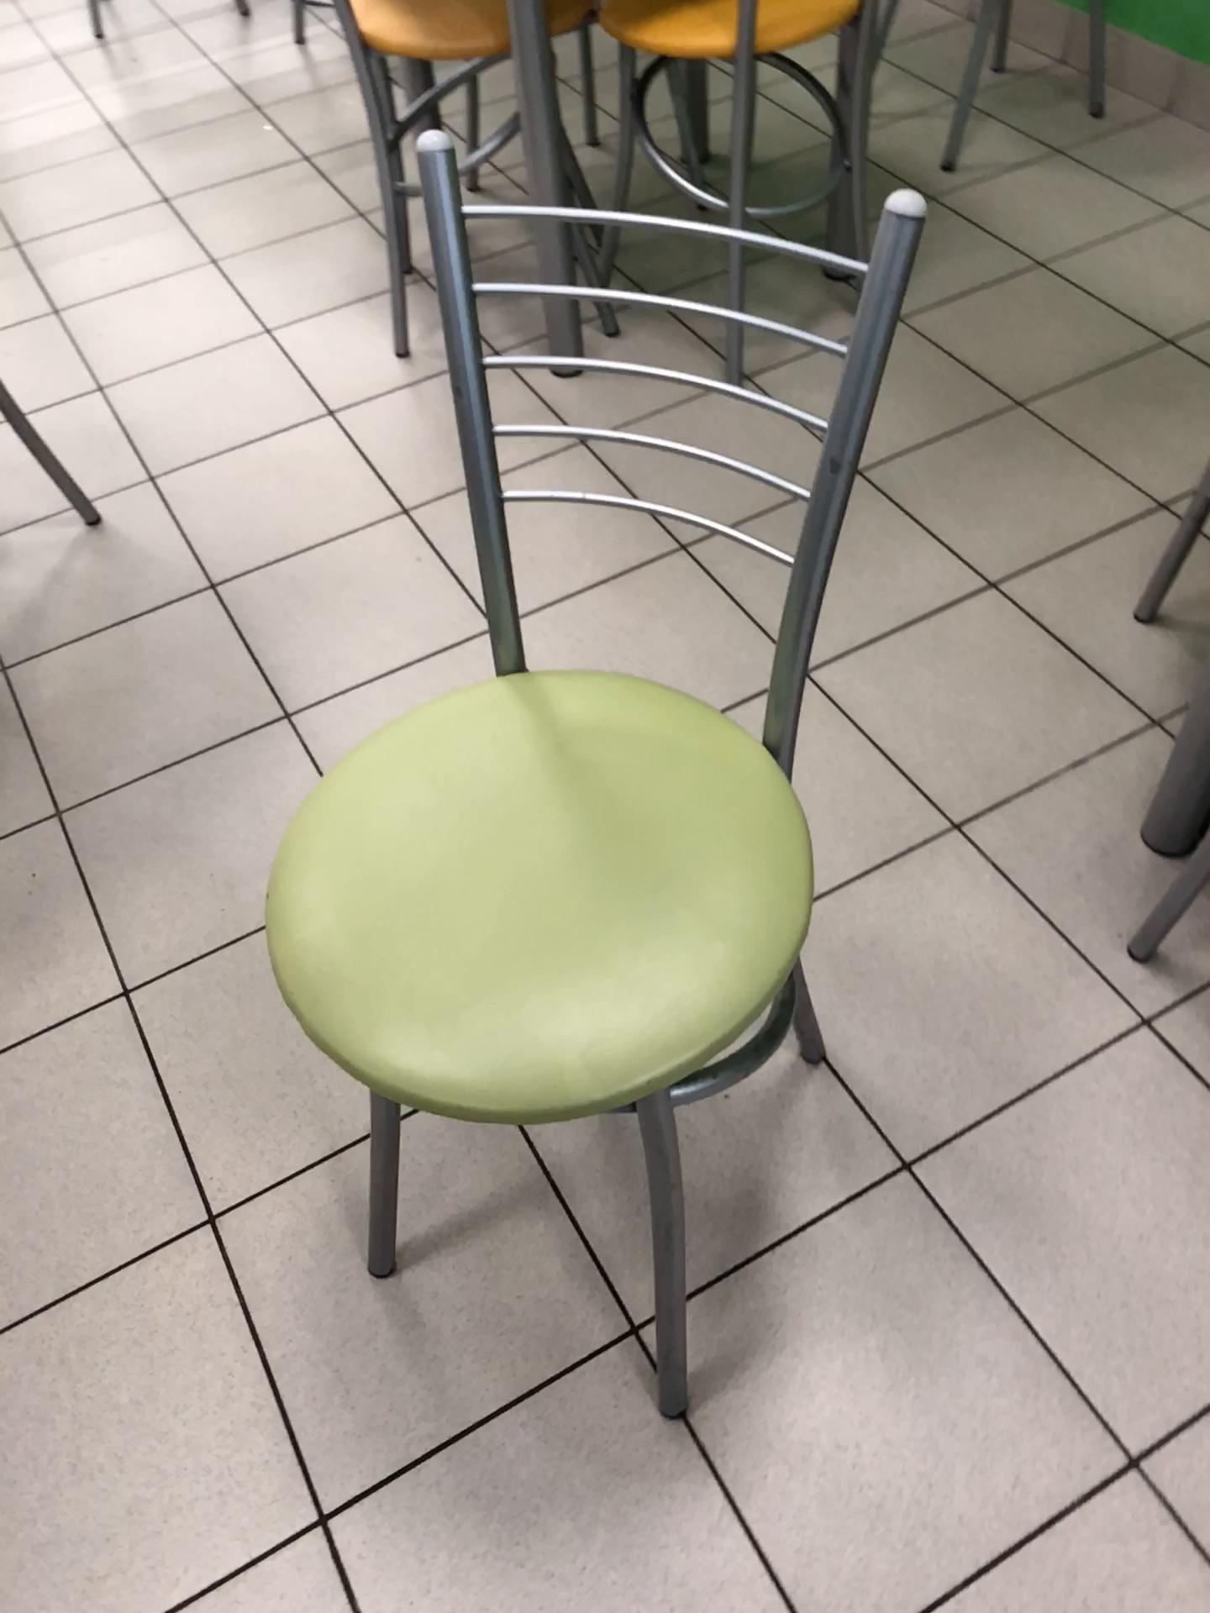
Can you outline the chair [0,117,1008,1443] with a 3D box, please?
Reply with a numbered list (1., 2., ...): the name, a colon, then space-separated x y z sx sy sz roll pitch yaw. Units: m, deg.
1. chair: -0.015 0.041 0.980 0.374 0.826 0.481 17 54 19
